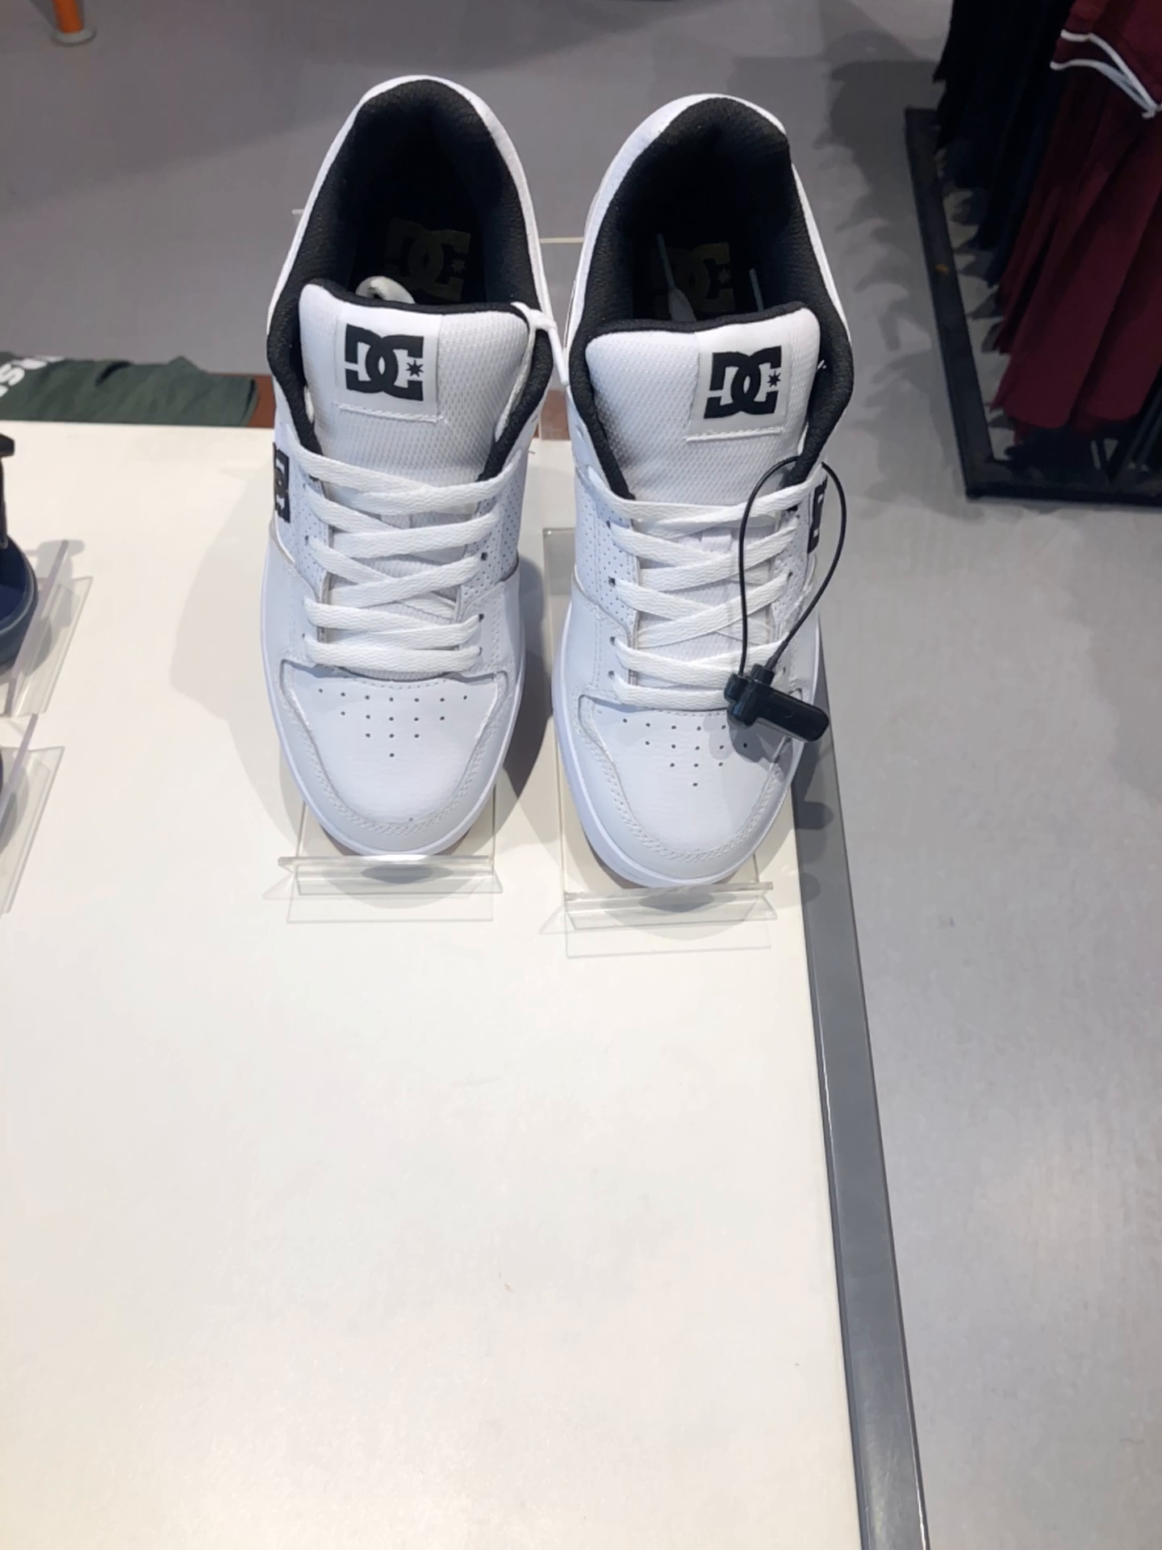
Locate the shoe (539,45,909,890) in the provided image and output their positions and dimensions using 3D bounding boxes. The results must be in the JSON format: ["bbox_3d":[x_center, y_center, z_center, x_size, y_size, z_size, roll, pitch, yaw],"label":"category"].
[{"bbox_3d":[0.038,-0.096,0.443,0.095,0.249,0.102,0,16,-5],"label":"shoe"}]

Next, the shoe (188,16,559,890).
[{"bbox_3d":[-0.068,-0.103,0.450,0.103,0.259,0.102,4,17,-1],"label":"shoe"}]
